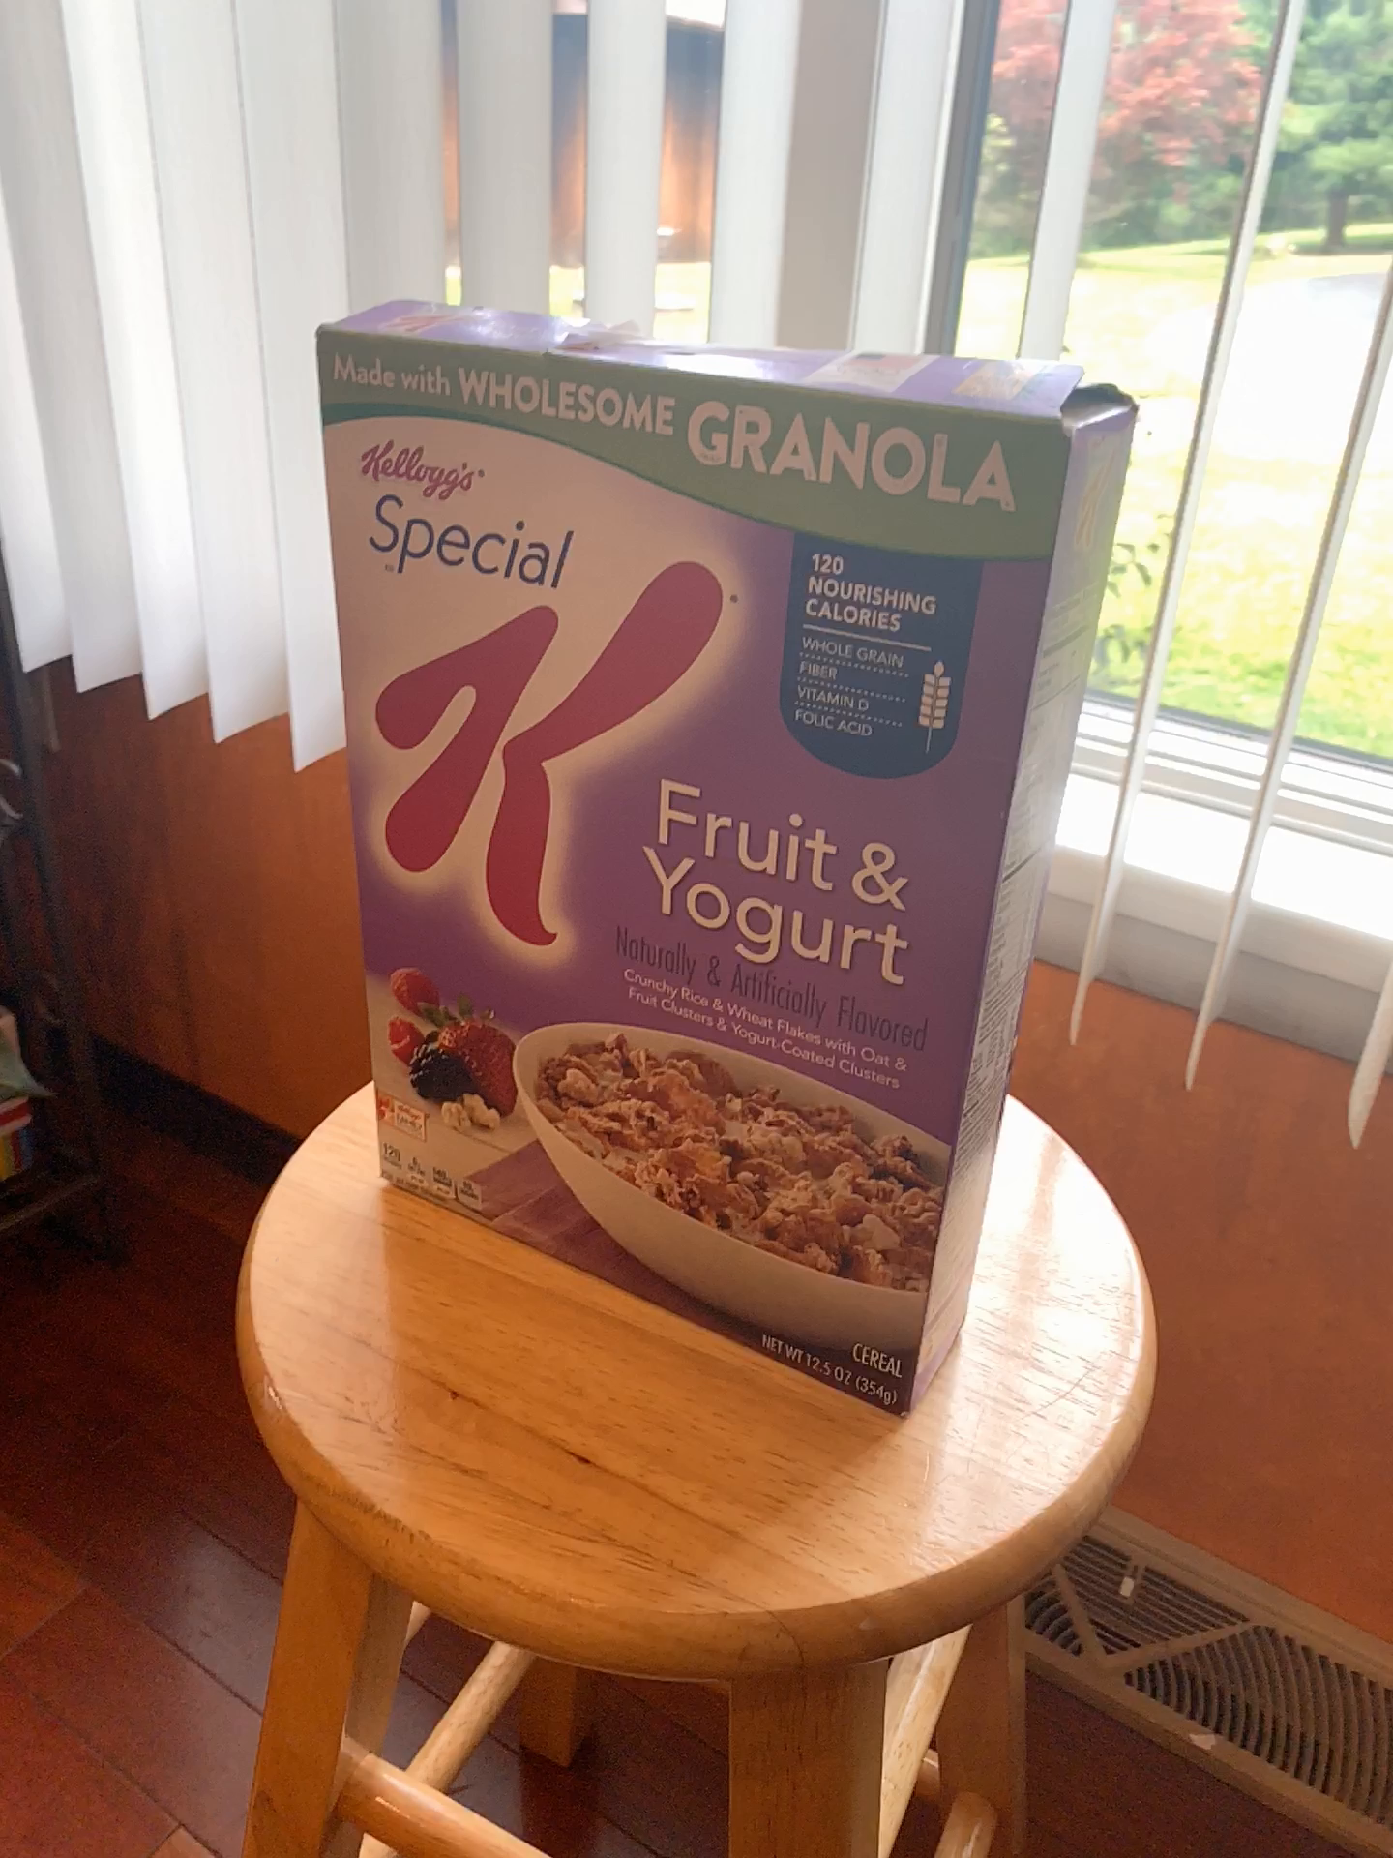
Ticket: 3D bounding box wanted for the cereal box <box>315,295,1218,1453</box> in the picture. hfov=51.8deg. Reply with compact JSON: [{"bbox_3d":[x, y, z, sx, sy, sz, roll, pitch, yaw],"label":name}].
[{"bbox_3d":[0.003,-0.018,0.411,0.210,0.278,0.070,18,31,25],"label":"cereal box"}]
